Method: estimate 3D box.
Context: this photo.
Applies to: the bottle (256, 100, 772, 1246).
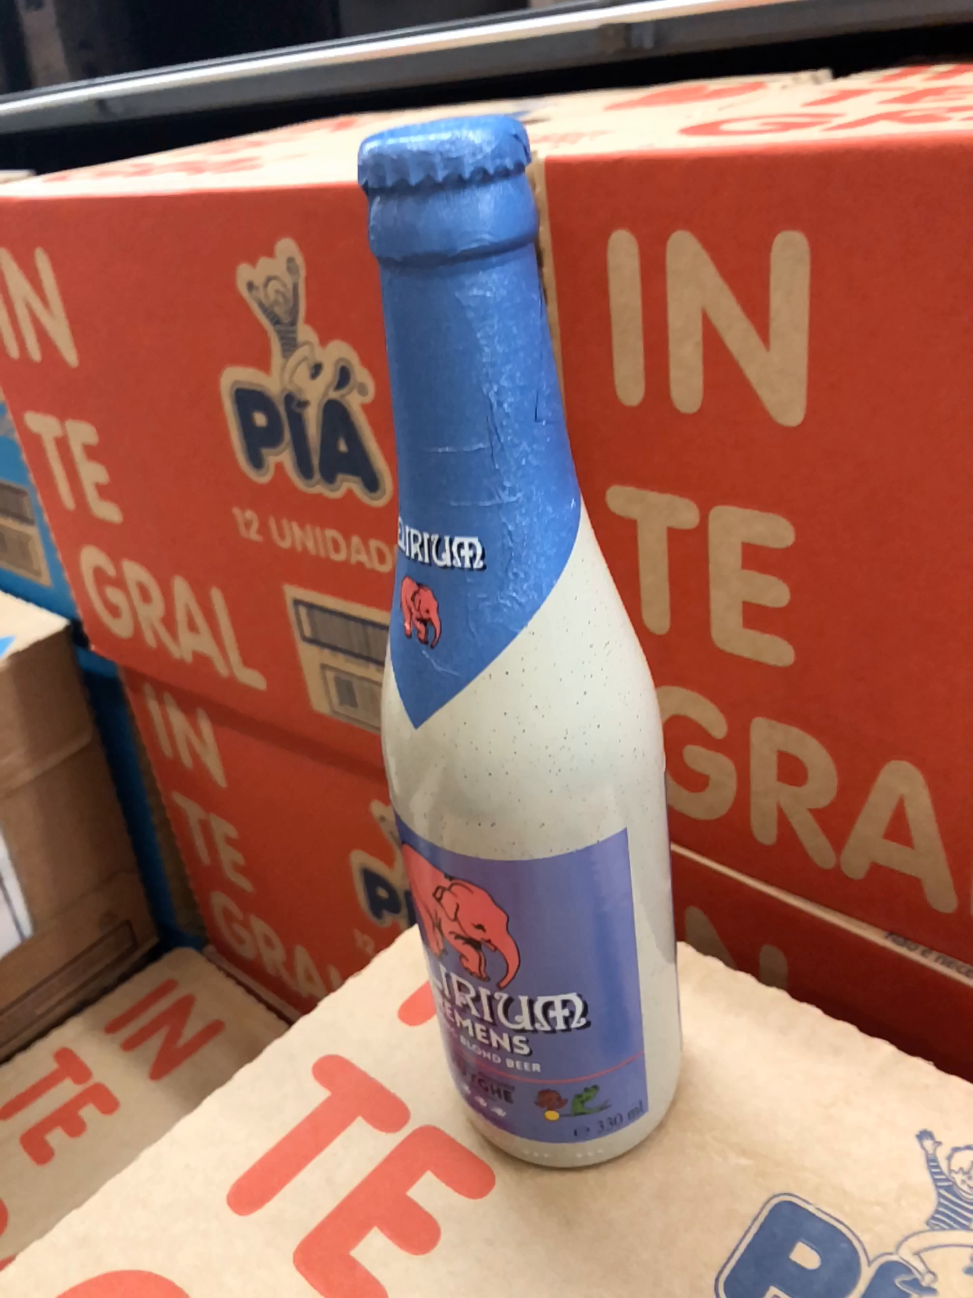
[{"bbox_3d":[0.013,0.012,0.226,0.060,0.218,0.060,-4,26,2],"label":"bottle"}]
